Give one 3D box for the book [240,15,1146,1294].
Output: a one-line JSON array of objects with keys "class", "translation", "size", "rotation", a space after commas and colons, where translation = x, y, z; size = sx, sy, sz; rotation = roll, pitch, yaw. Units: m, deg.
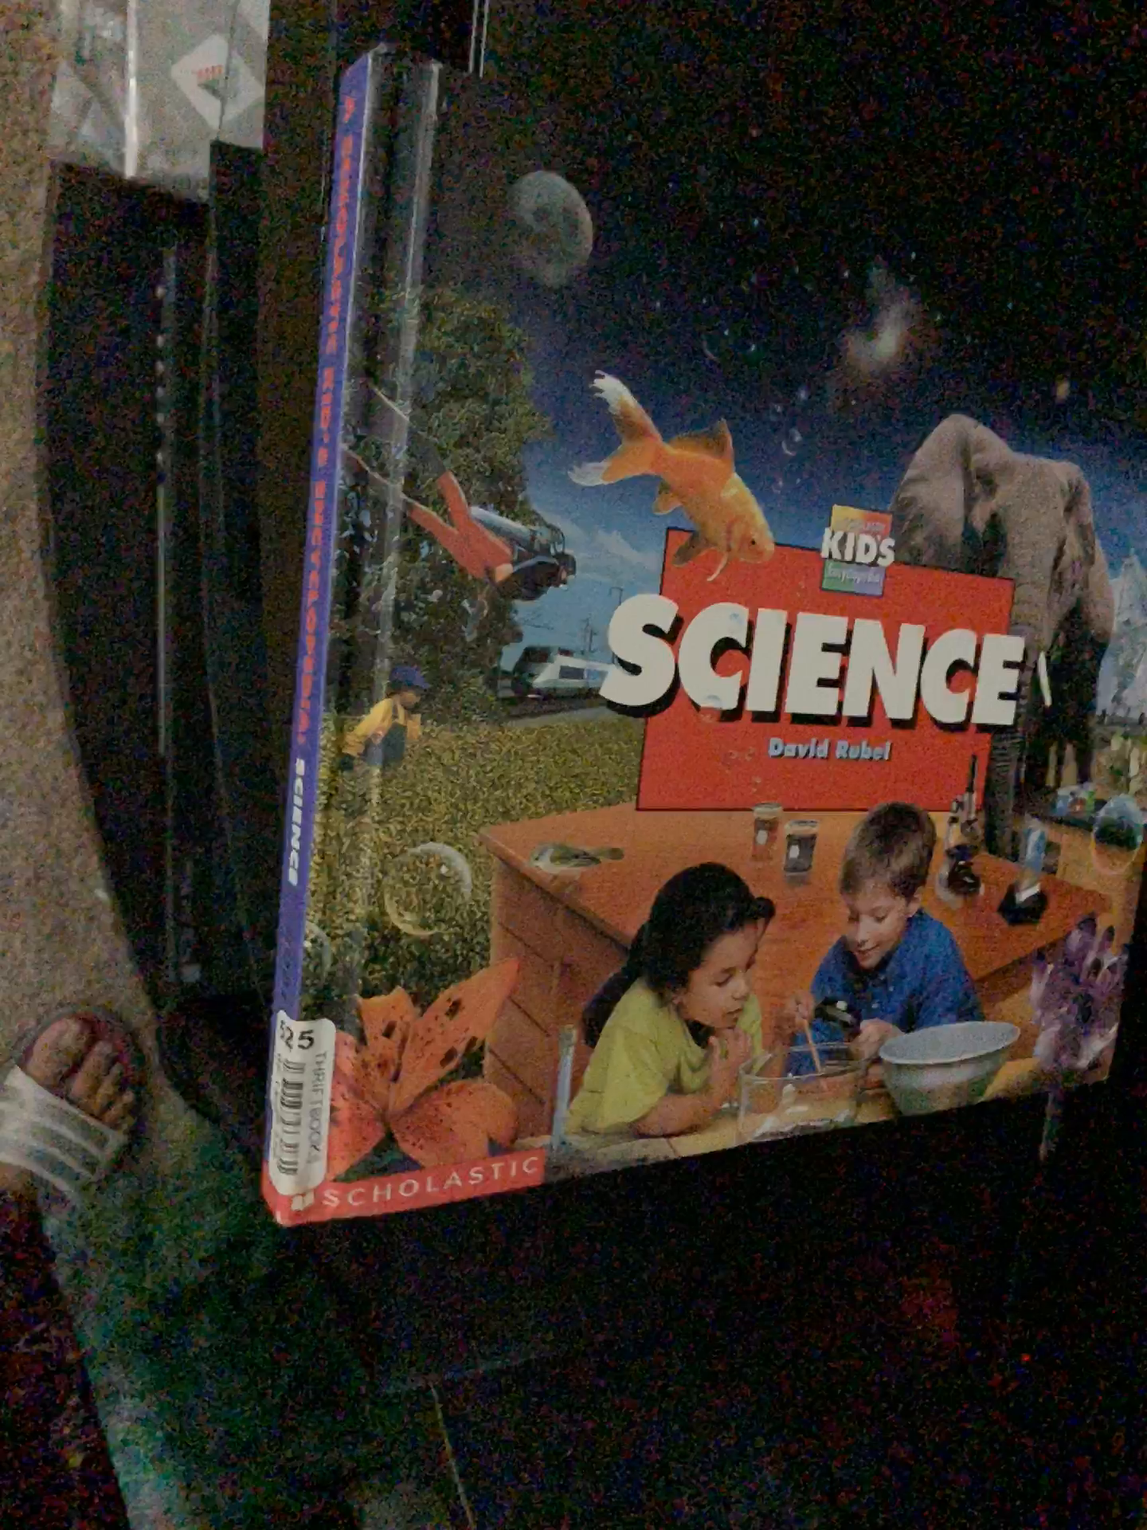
[{"class": "book", "translation": [0.067, -0.011, 0.306], "size": [0.281, 0.030, 0.240], "rotation": [2, 99, -31]}]
